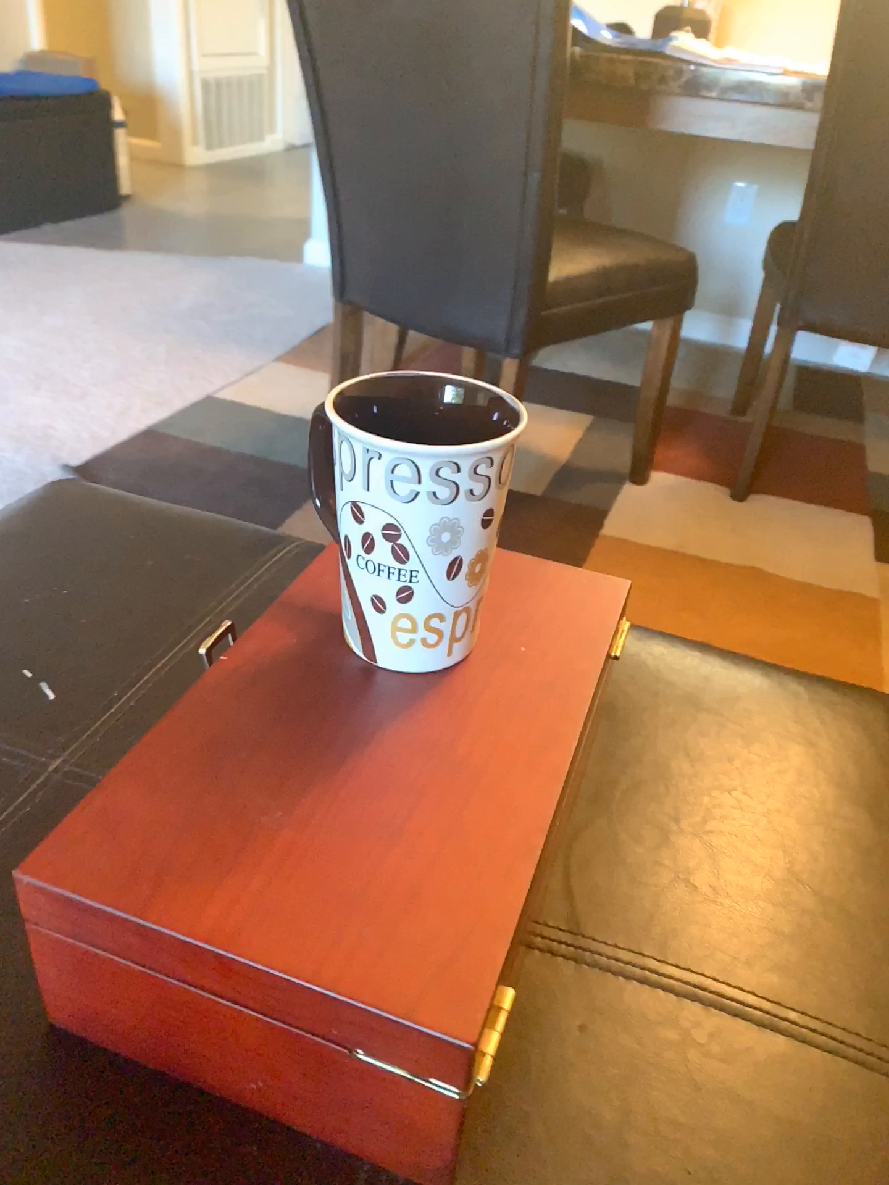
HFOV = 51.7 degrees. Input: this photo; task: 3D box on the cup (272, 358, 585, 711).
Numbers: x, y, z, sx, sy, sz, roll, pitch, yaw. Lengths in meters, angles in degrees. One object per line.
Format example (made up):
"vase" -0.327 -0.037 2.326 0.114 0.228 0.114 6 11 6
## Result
"cup" -0.011 -0.032 0.423 0.100 0.109 0.090 28 39 31
